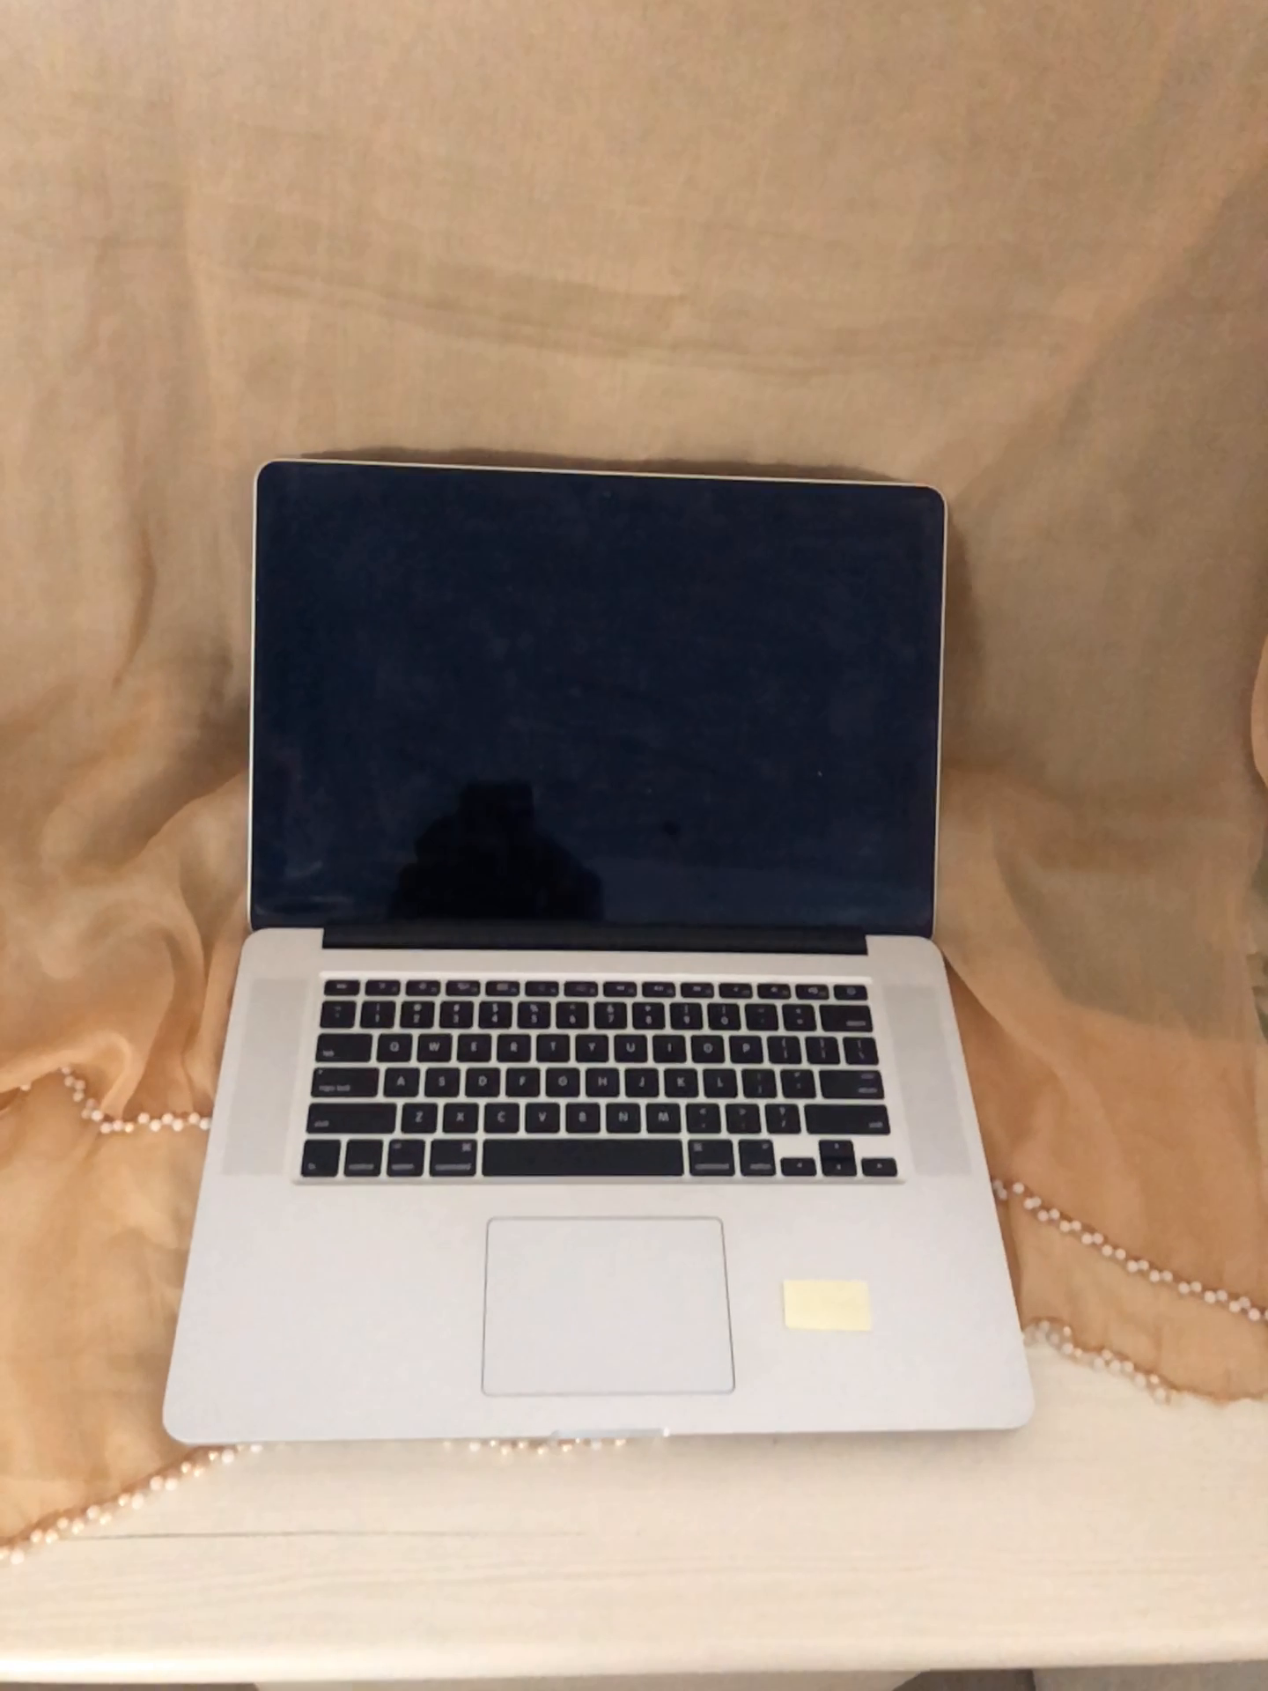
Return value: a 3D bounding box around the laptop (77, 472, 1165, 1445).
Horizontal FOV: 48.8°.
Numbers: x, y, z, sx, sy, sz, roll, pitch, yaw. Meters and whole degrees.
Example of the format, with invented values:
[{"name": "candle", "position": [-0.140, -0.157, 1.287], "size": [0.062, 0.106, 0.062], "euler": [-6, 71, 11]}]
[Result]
[{"name": "laptop", "position": [-0.010, 0.025, 0.609], "size": [0.336, 0.135, 0.407], "euler": [1, 52, -4]}]
